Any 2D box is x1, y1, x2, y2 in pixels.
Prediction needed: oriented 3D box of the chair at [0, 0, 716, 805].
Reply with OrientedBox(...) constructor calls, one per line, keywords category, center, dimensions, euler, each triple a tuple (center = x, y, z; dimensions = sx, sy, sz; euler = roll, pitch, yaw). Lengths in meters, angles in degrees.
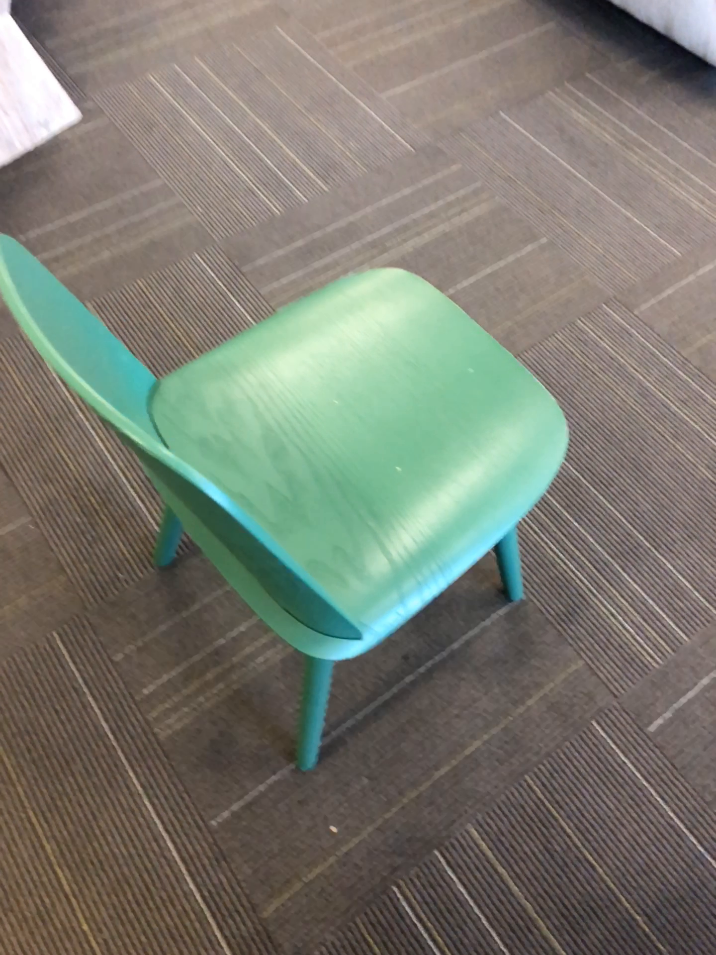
OrientedBox(category="chair", center=(-0.030, -0.047, 0.952), dimensions=(0.500, 0.778, 0.501), euler=(-32, 65, -20))
